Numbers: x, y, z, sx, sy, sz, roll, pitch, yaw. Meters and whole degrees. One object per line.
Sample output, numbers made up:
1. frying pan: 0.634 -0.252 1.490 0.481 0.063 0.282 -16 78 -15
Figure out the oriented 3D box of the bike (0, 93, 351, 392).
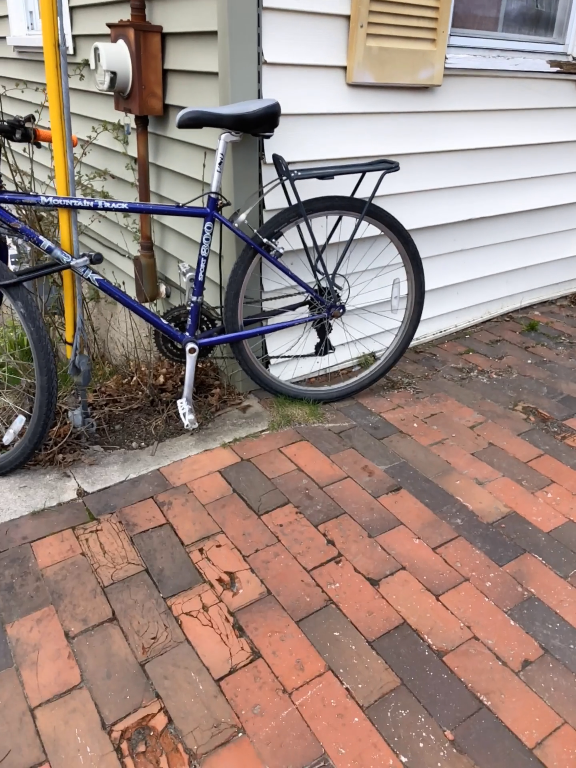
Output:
1. bike: -0.523 -0.405 1.736 1.146 0.690 0.515 -1 27 -4
